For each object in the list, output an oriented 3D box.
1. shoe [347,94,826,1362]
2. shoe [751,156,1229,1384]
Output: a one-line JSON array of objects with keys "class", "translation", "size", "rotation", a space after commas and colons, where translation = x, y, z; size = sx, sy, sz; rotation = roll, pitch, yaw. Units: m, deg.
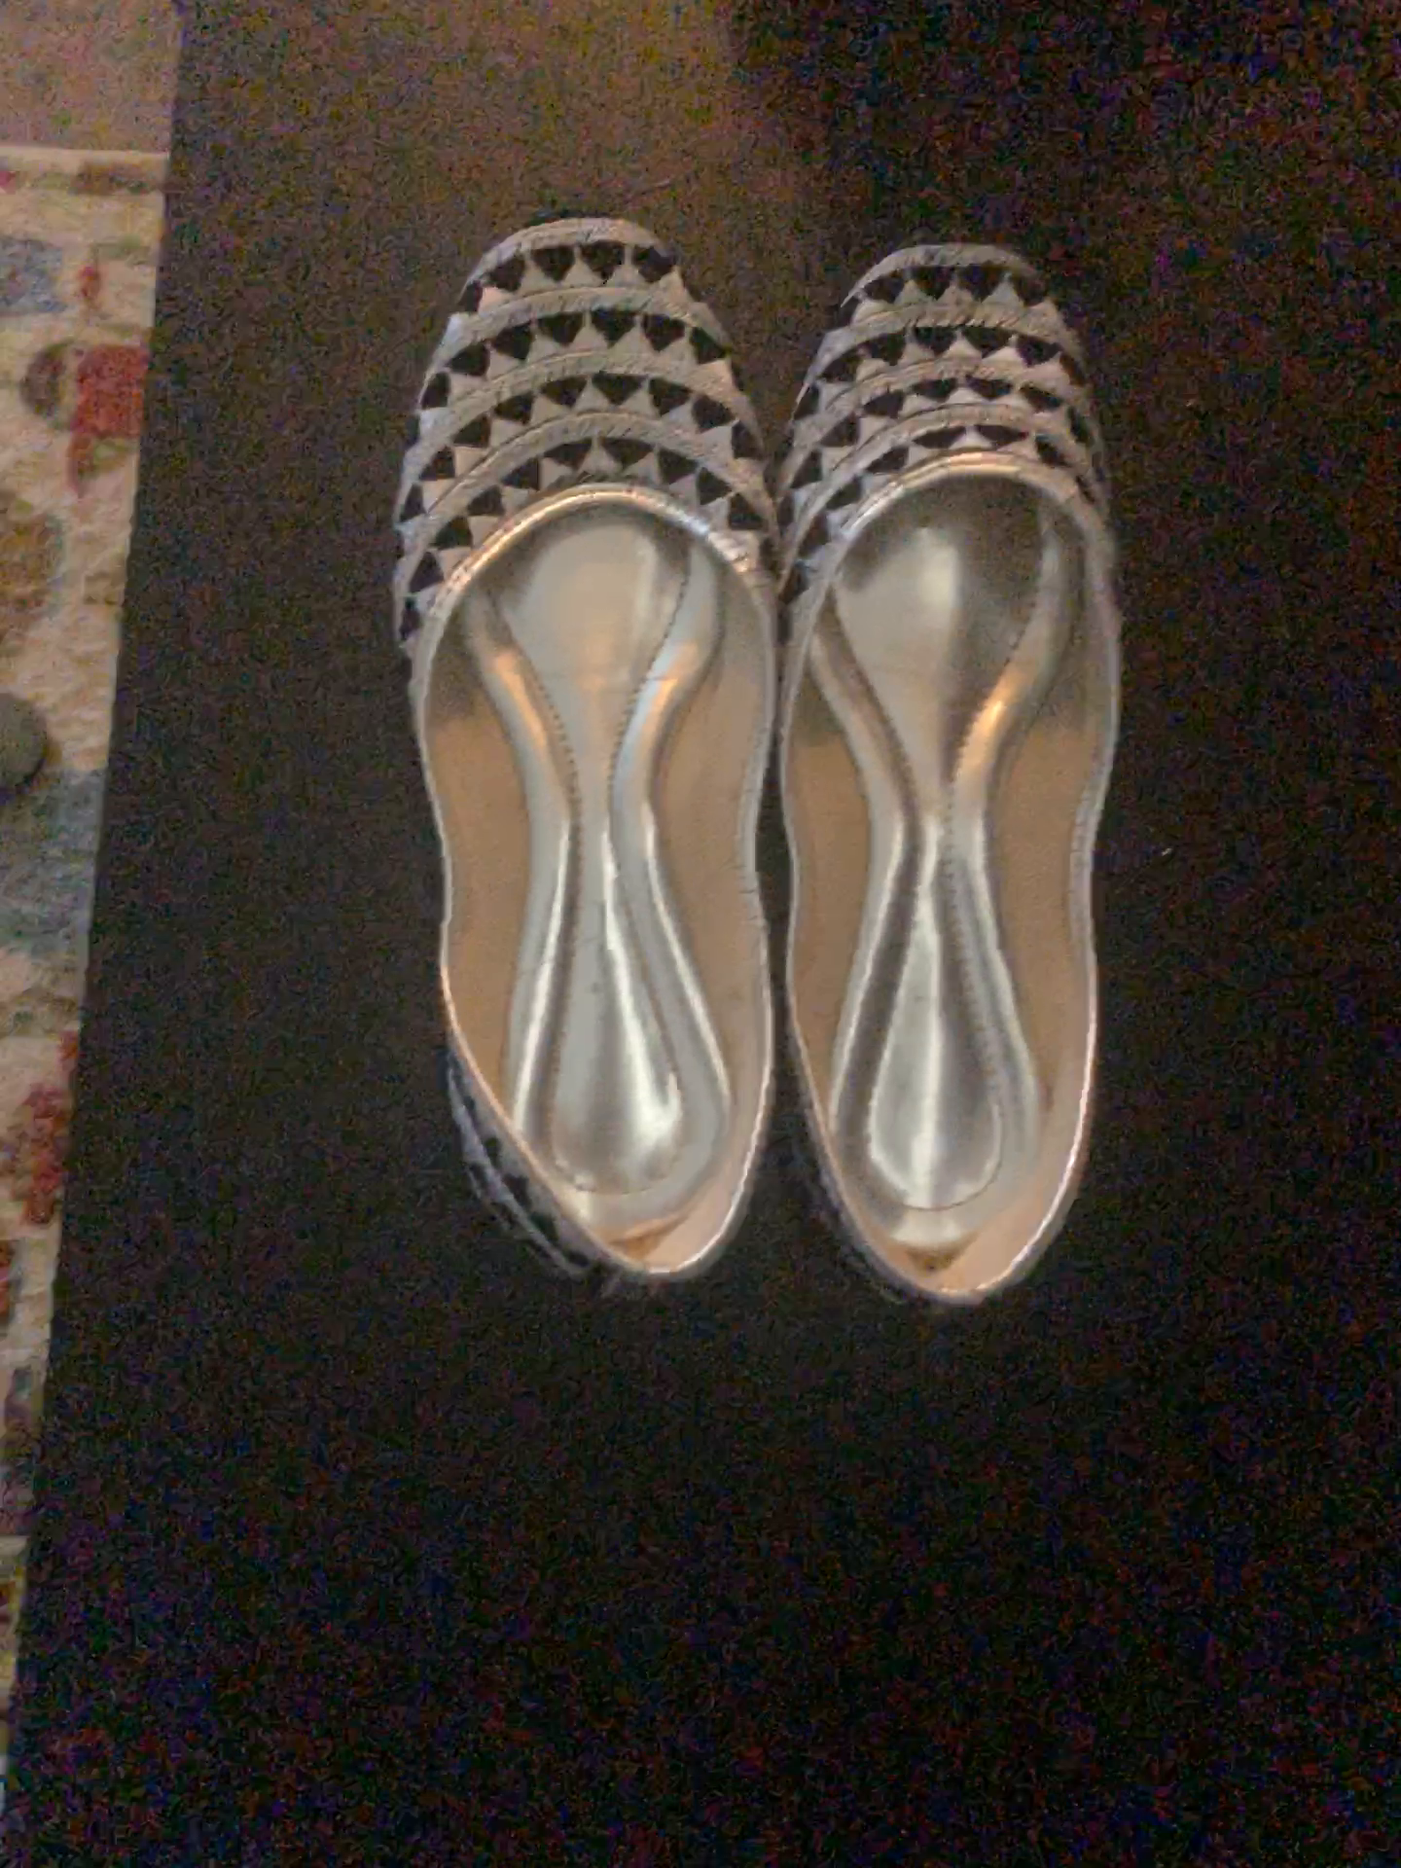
[{"class": "shoe", "translation": [-0.028, -0.046, 0.343], "size": [0.095, 0.070, 0.270], "rotation": [-1, 86, -5]}, {"class": "shoe", "translation": [0.064, -0.037, 0.354], "size": [0.095, 0.070, 0.270], "rotation": [0, 86, -5]}]
